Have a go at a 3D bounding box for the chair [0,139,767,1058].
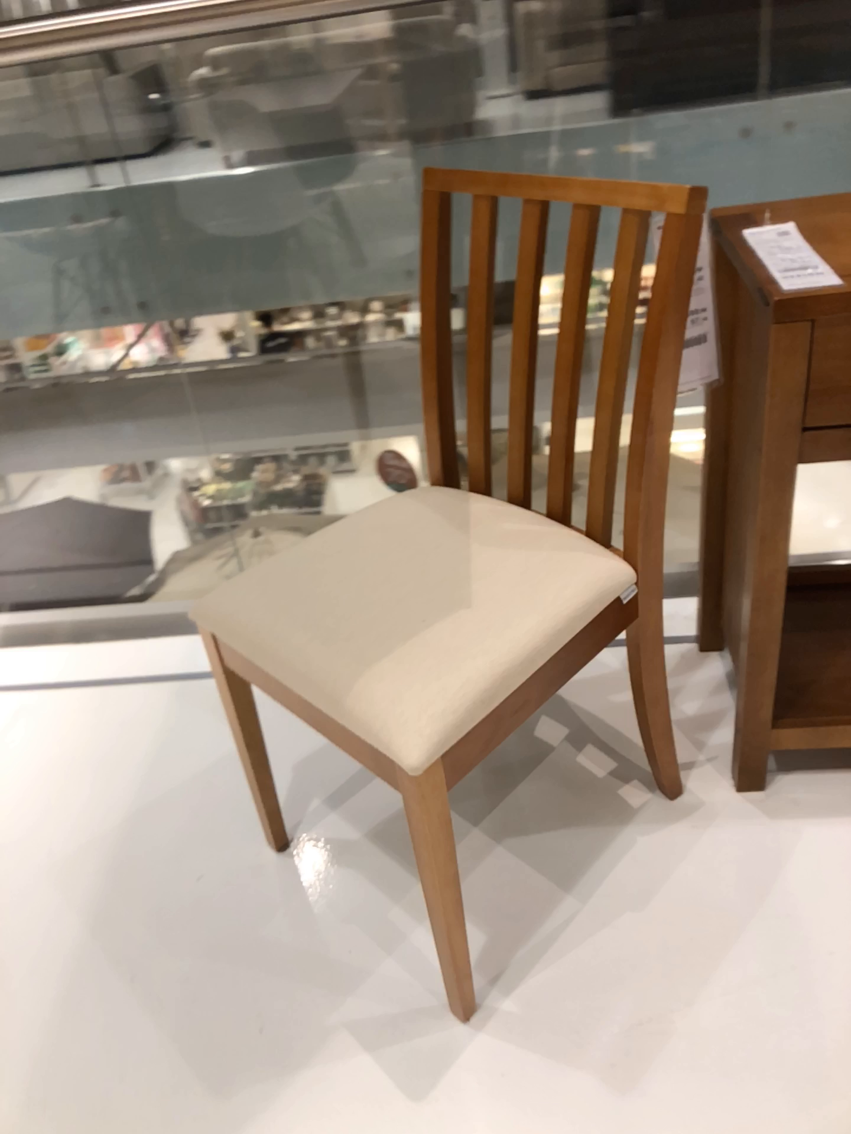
[{"bbox_3d":[0.000,-0.009,1.155,0.552,0.833,0.542,-33,40,-32],"label":"chair"}]
